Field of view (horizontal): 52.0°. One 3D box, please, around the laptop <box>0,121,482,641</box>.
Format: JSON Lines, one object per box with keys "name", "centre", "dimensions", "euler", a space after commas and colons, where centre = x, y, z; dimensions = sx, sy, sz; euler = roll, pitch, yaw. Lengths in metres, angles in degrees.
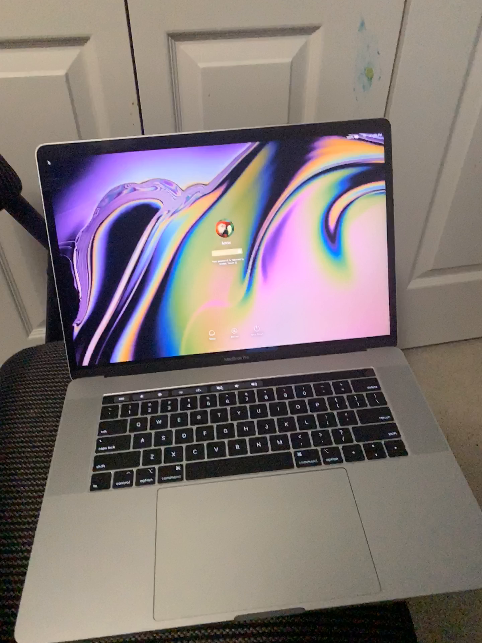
{"name": "laptop", "centre": [0.002, 0.008, 0.403], "dimensions": [0.342, 0.194, 0.354], "euler": [-5, 41, -3]}
